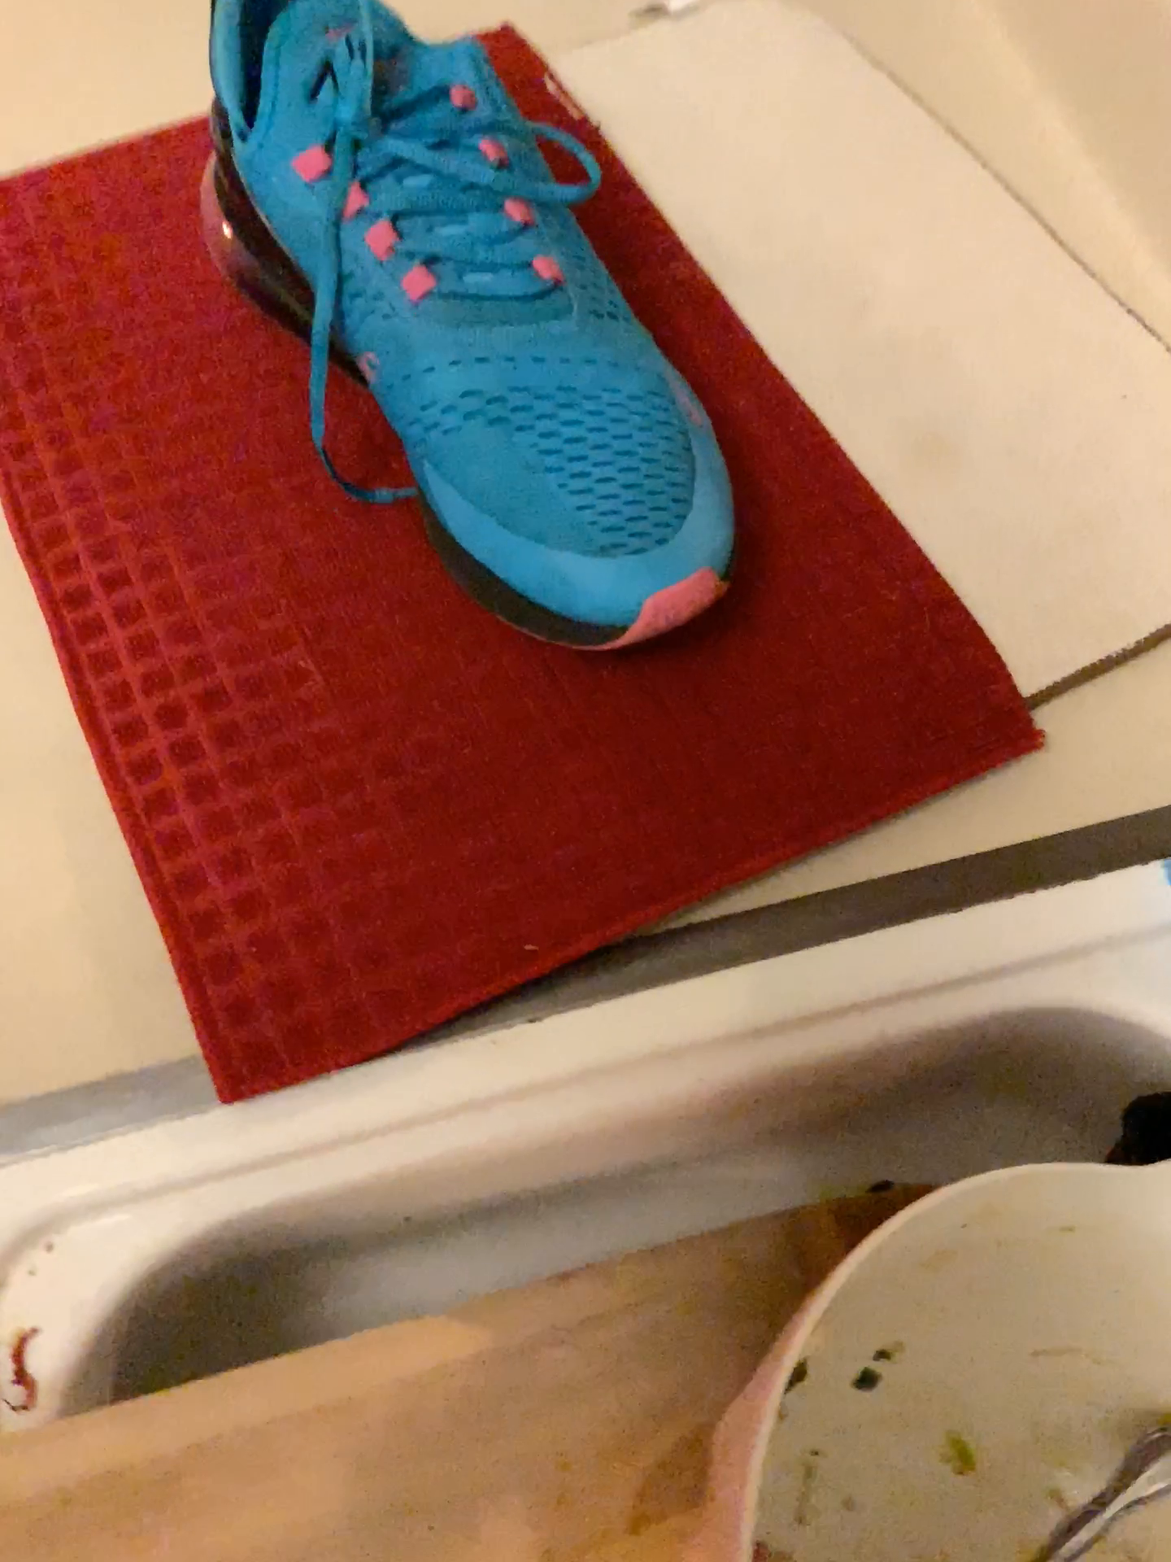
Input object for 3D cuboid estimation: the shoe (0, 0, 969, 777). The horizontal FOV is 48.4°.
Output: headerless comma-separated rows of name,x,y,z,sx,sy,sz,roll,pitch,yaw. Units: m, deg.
shoe,-0.049,-0.190,0.460,0.150,0.130,0.330,-31,67,-15
